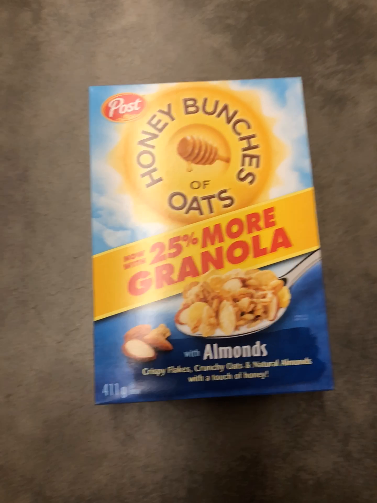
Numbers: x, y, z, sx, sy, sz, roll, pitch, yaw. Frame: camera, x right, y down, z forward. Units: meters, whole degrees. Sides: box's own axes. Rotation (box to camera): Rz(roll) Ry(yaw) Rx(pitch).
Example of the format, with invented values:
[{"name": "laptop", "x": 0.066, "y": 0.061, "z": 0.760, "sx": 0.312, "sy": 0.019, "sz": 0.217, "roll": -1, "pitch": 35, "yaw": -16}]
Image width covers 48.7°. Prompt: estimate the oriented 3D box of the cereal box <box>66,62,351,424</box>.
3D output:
[{"name": "cereal box", "x": 0.009, "y": -0.012, "z": 0.352, "sx": 0.200, "sy": 0.060, "sz": 0.270, "roll": -4, "pitch": 82, "yaw": -1}]
